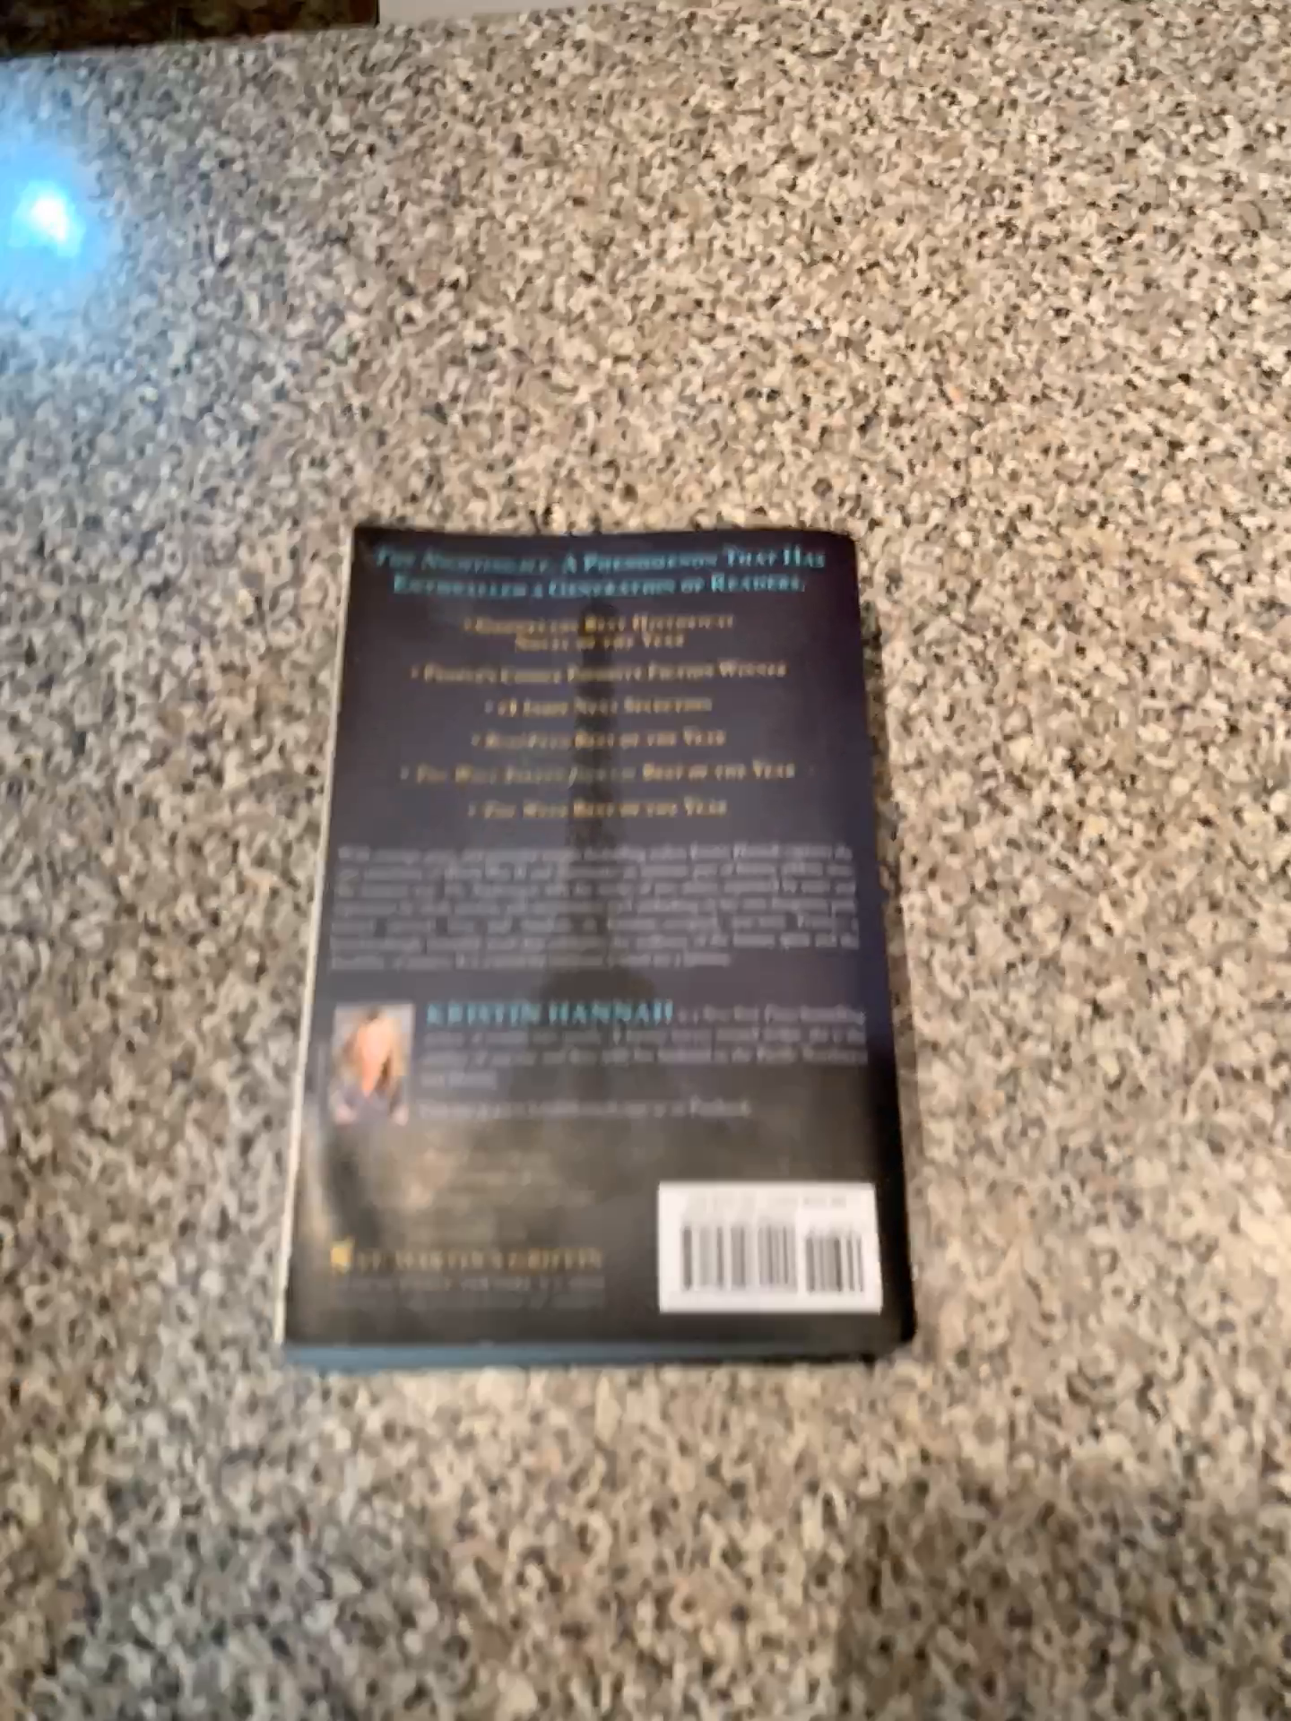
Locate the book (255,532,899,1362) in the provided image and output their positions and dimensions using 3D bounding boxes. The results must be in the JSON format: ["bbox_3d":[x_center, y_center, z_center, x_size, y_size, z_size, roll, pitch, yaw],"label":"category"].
[{"bbox_3d":[-0.013,0.020,0.342,0.139,0.056,0.207,-1,69,4],"label":"book"}]
